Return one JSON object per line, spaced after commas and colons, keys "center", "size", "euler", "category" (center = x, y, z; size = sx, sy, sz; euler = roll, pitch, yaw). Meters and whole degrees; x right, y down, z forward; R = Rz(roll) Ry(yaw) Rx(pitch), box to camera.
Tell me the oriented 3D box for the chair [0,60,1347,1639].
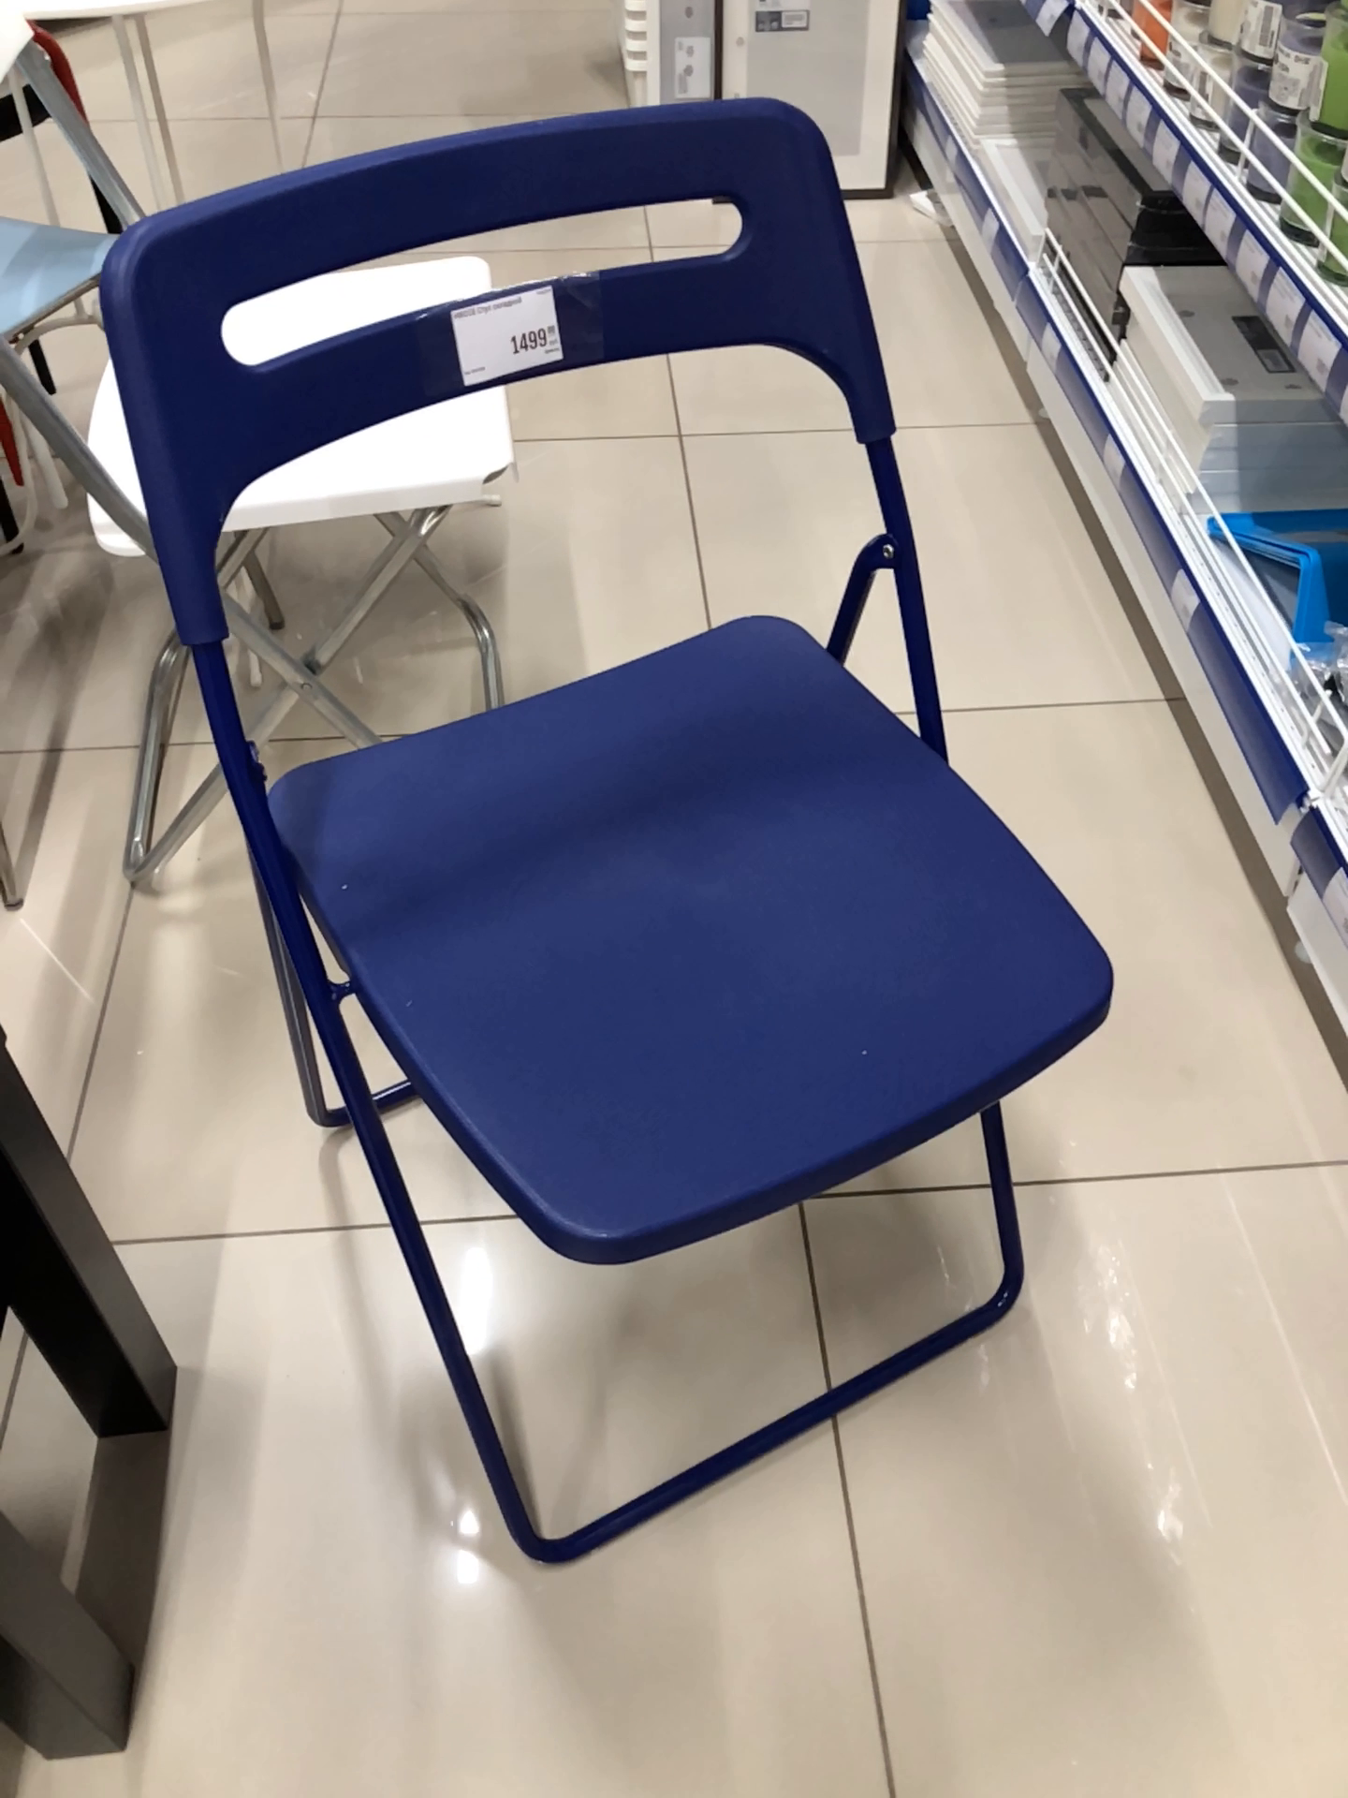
{"center": [-0.012, -0.008, 0.876], "size": [0.451, 0.705, 0.467], "euler": [-22, 50, -20], "category": "chair"}
